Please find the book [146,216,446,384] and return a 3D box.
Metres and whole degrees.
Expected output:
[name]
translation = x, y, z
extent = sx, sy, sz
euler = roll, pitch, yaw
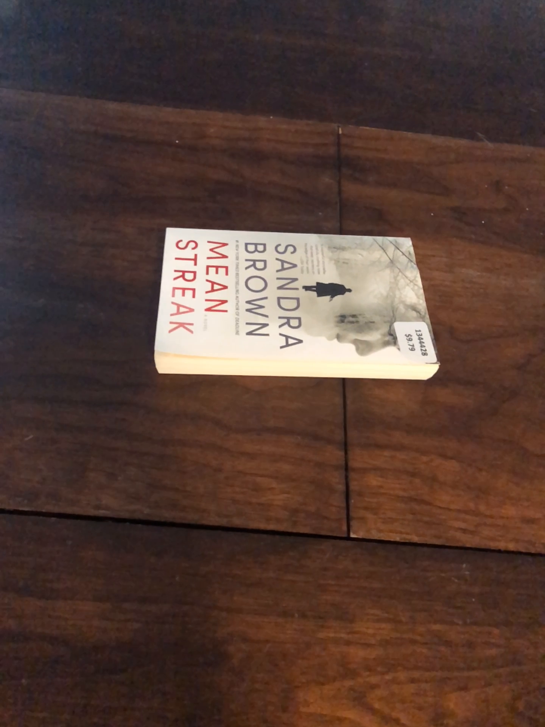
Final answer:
[book]
translation = 0.016, -0.052, 0.466
extent = 0.207, 0.030, 0.137
euler = 1, 54, -4
